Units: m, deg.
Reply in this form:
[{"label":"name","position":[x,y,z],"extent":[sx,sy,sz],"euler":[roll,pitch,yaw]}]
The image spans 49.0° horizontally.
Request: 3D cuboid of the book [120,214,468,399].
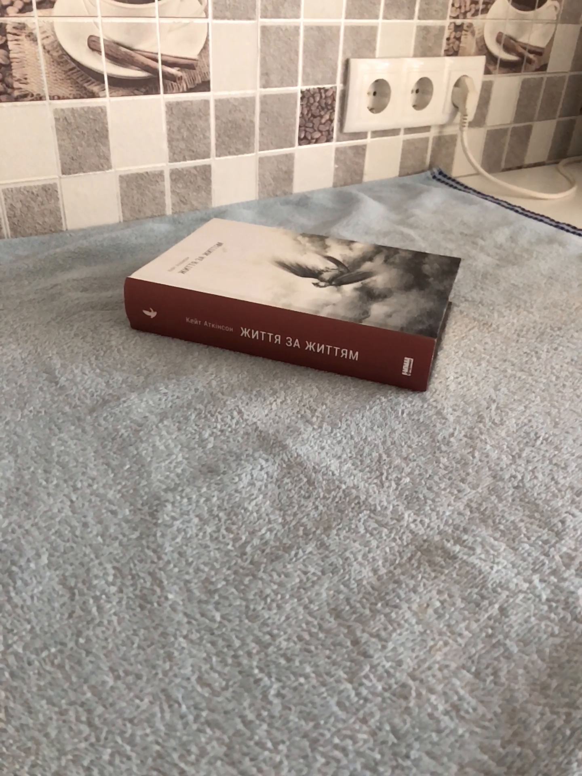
[{"label":"book","position":[0.011,-0.073,0.481],"extent":[0.220,0.040,0.156],"euler":[13,33,14]}]
